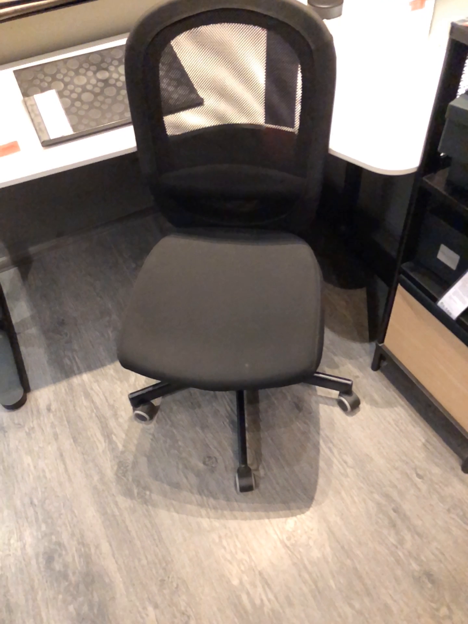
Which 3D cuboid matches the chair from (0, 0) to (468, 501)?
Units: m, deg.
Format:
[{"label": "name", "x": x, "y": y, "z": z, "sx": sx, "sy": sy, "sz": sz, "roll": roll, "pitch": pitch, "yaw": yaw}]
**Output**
[{"label": "chair", "x": -0.003, "y": -0.125, "z": 1.112, "sx": 0.630, "sy": 0.884, "sz": 0.714, "roll": 1, "pitch": 50, "yaw": 6}]
